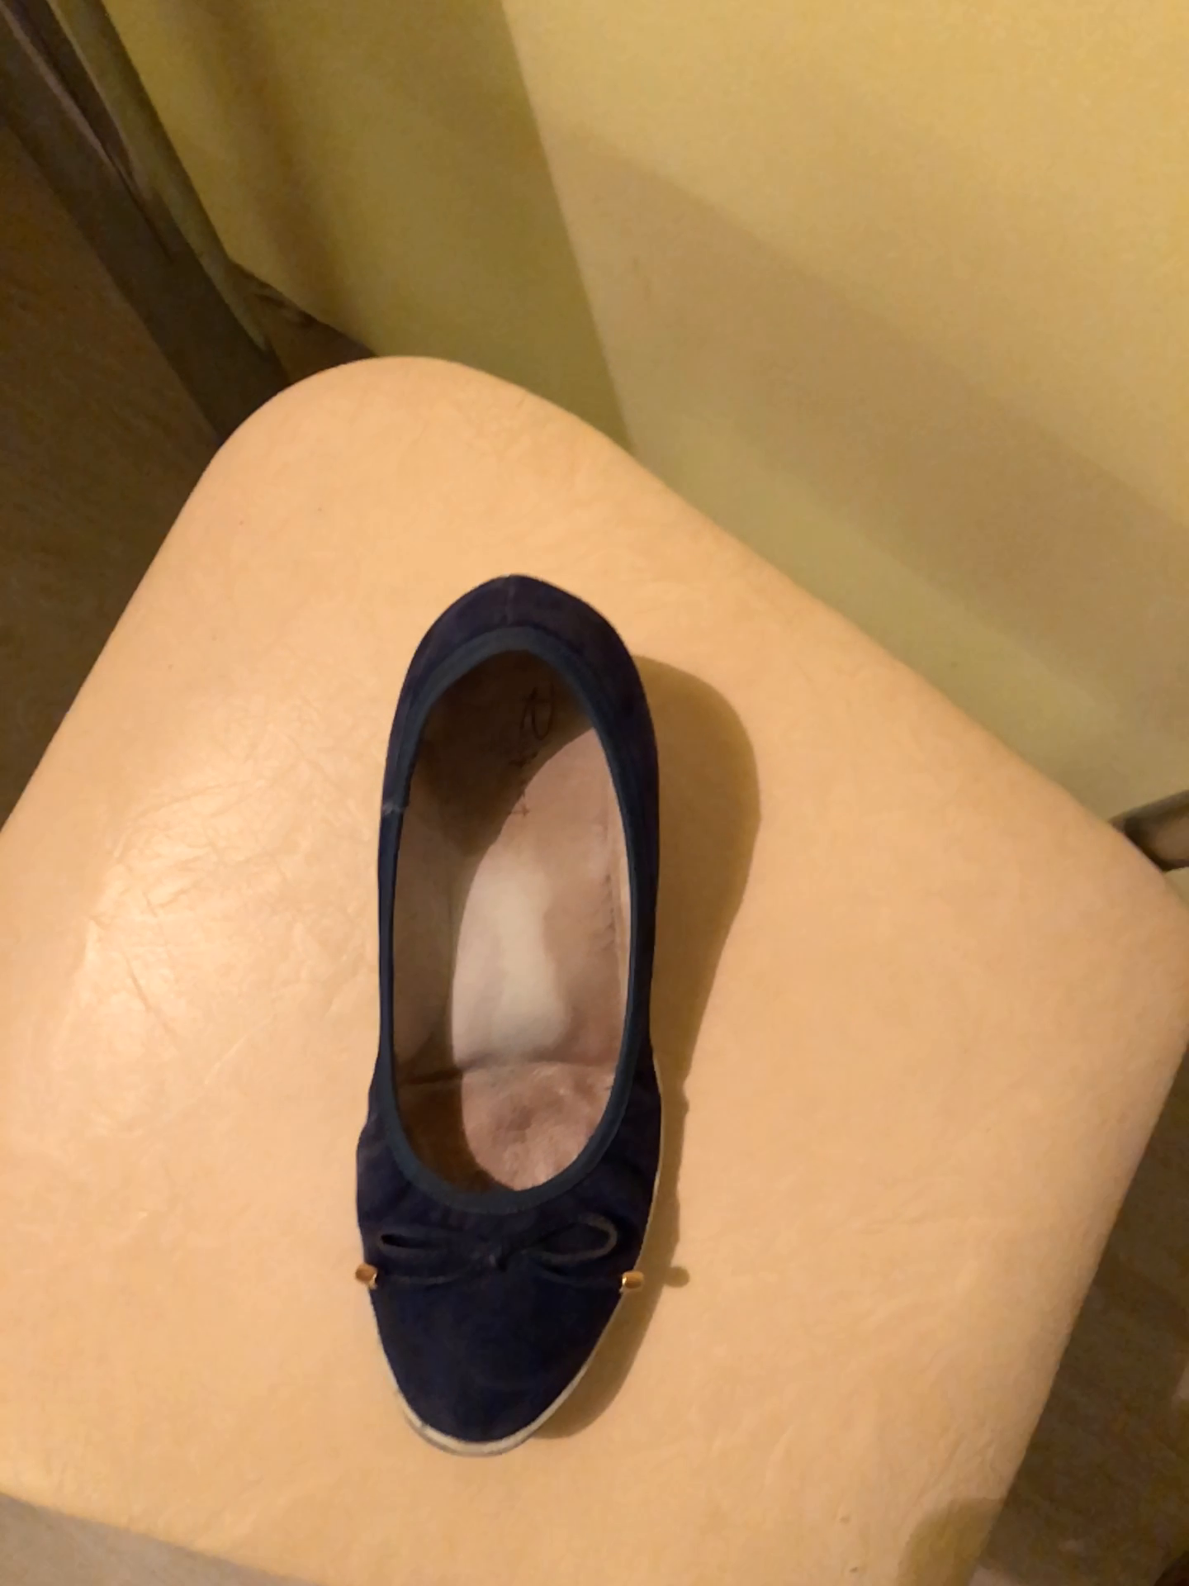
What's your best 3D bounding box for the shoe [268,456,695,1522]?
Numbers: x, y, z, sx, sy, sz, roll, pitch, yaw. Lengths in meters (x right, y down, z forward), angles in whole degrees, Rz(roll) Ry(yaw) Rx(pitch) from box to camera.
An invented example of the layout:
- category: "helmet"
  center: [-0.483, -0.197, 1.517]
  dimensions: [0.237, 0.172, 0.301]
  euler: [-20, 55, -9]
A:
- category: "shoe"
  center: [-0.025, 0.047, 0.364]
  dimensions: [0.090, 0.100, 0.250]
  euler: [2, 81, -1]
